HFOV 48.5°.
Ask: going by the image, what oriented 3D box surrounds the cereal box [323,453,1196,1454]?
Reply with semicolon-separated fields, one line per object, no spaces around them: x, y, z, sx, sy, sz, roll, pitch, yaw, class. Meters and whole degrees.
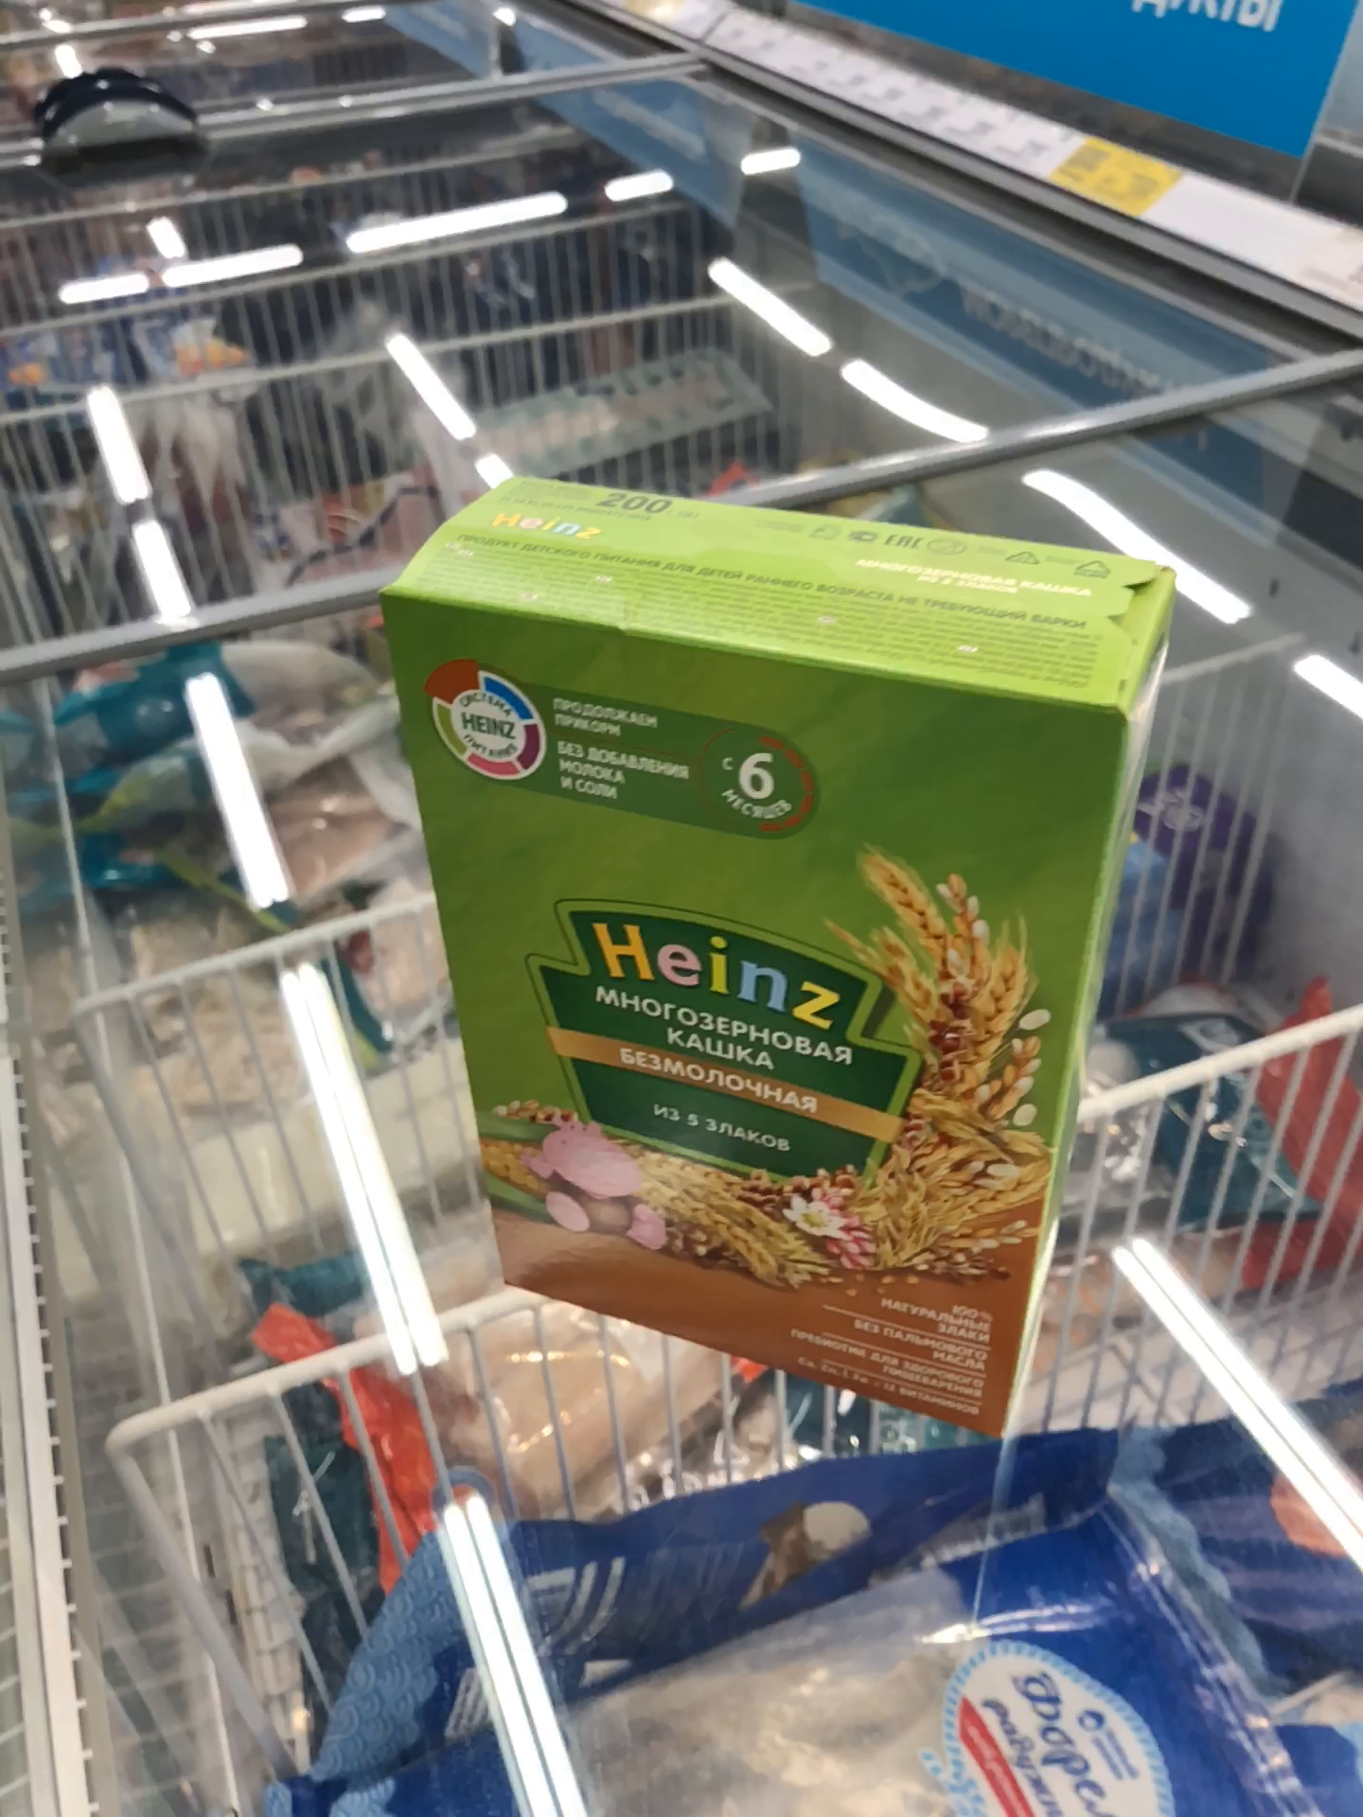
0.016;0.017;0.320;0.140;0.199;0.050;12;41;18;cereal box
